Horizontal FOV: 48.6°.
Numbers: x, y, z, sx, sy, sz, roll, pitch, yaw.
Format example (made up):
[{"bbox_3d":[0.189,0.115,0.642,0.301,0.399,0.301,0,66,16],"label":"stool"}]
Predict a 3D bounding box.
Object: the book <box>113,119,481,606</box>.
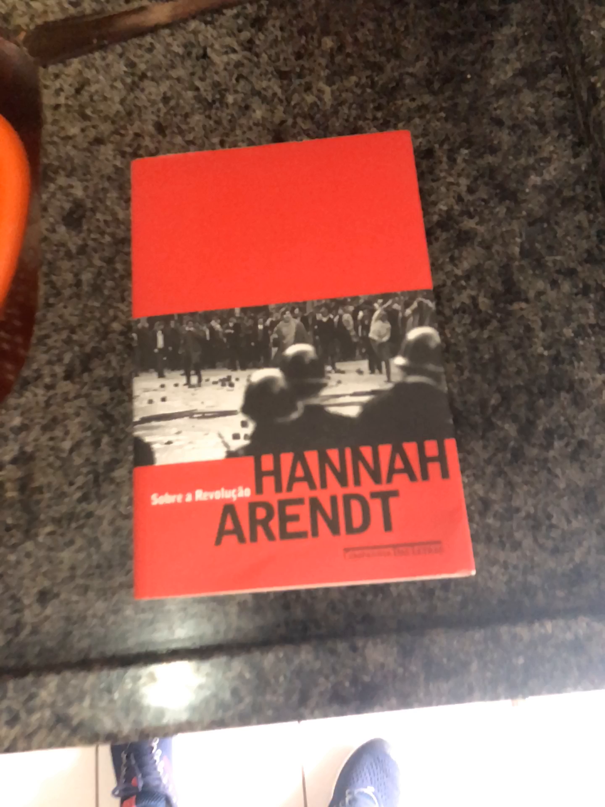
[{"bbox_3d":[-0.009,-0.023,0.306,0.145,0.030,0.210,-5,74,3],"label":"book"}]
